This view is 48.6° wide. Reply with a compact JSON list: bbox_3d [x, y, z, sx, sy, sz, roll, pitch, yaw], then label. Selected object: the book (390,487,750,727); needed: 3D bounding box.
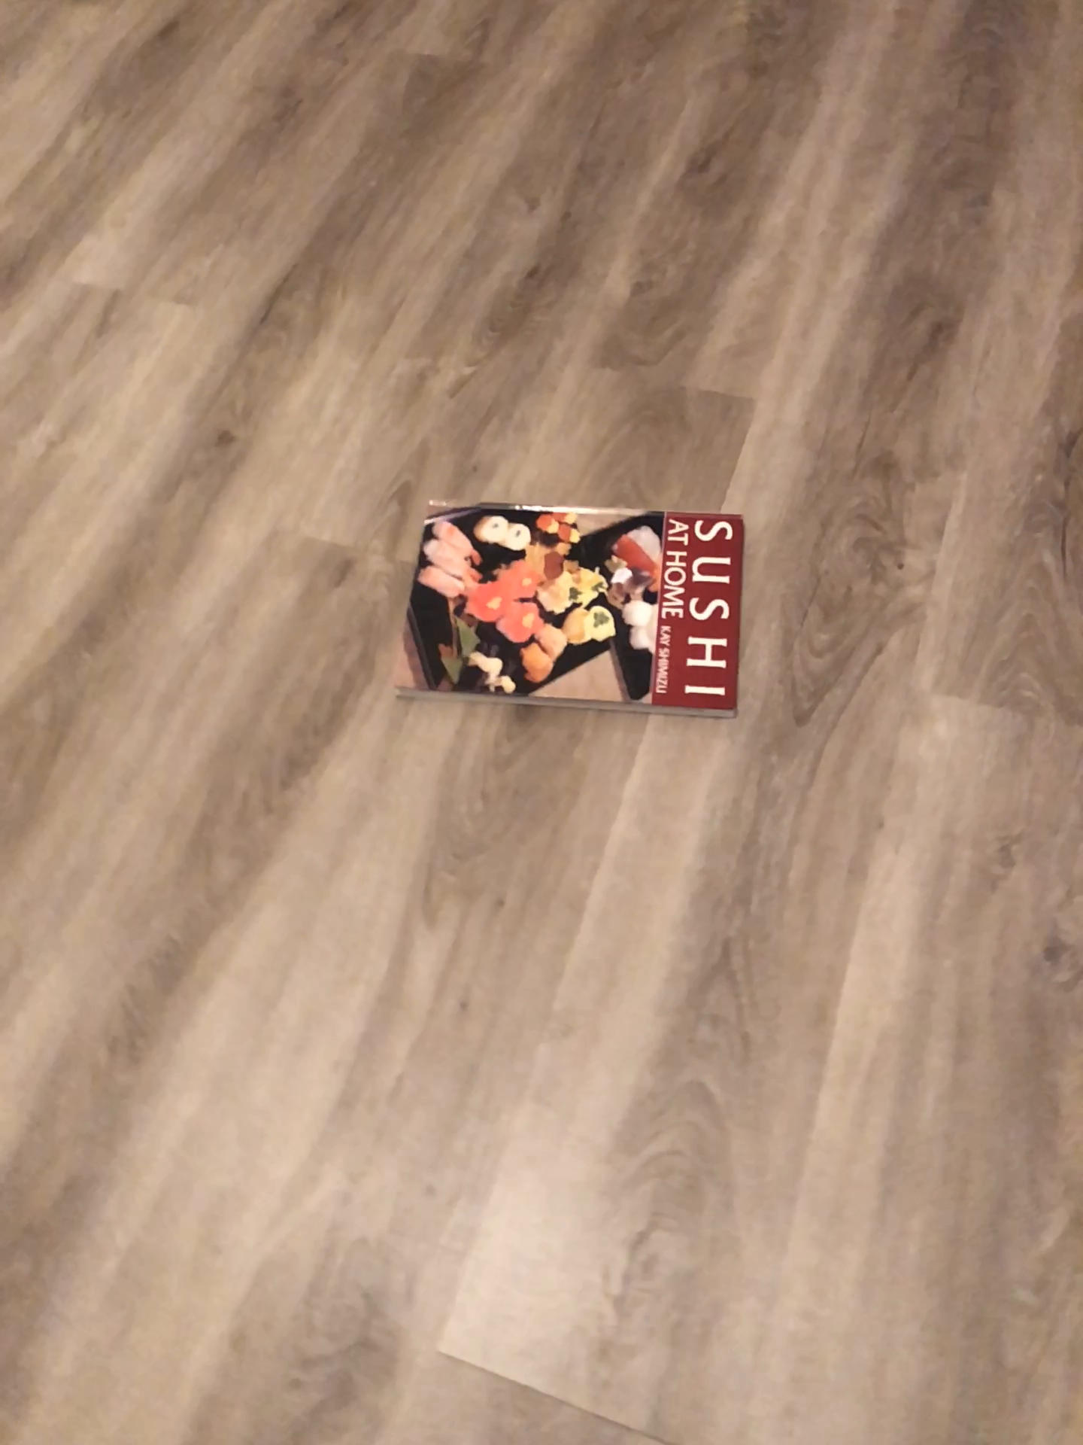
[{"bbox_3d":[0.028,-0.094,0.933,0.258,0.030,0.190,4,59,6],"label":"book"}]
